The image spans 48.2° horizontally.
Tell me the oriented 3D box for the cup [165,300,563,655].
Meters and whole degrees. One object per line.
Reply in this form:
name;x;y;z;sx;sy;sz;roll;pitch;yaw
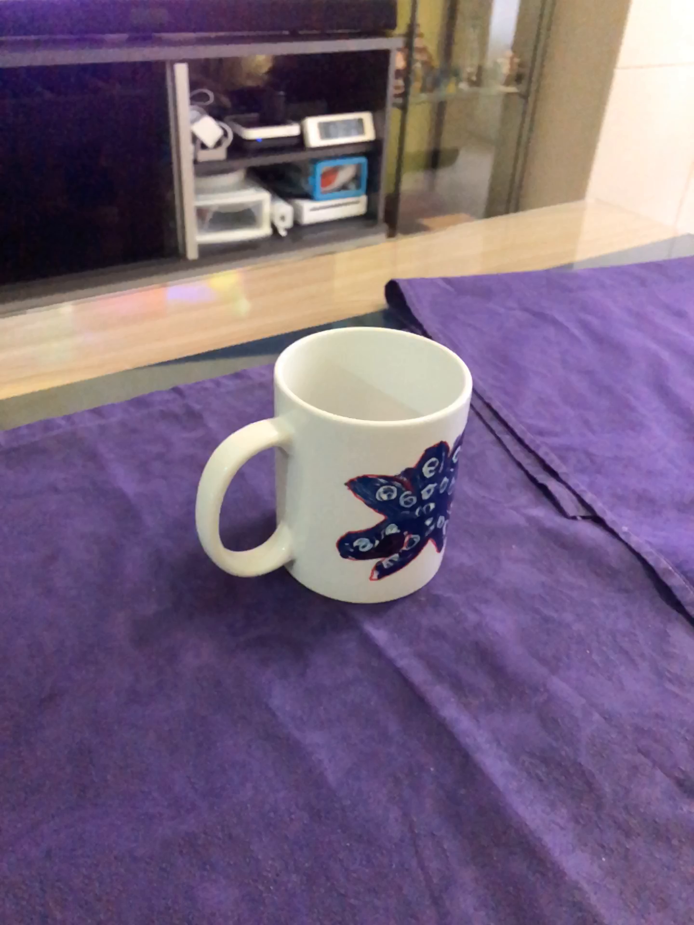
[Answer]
cup;0.004;0.000;0.323;0.130;0.090;0.080;-15;40;-24
